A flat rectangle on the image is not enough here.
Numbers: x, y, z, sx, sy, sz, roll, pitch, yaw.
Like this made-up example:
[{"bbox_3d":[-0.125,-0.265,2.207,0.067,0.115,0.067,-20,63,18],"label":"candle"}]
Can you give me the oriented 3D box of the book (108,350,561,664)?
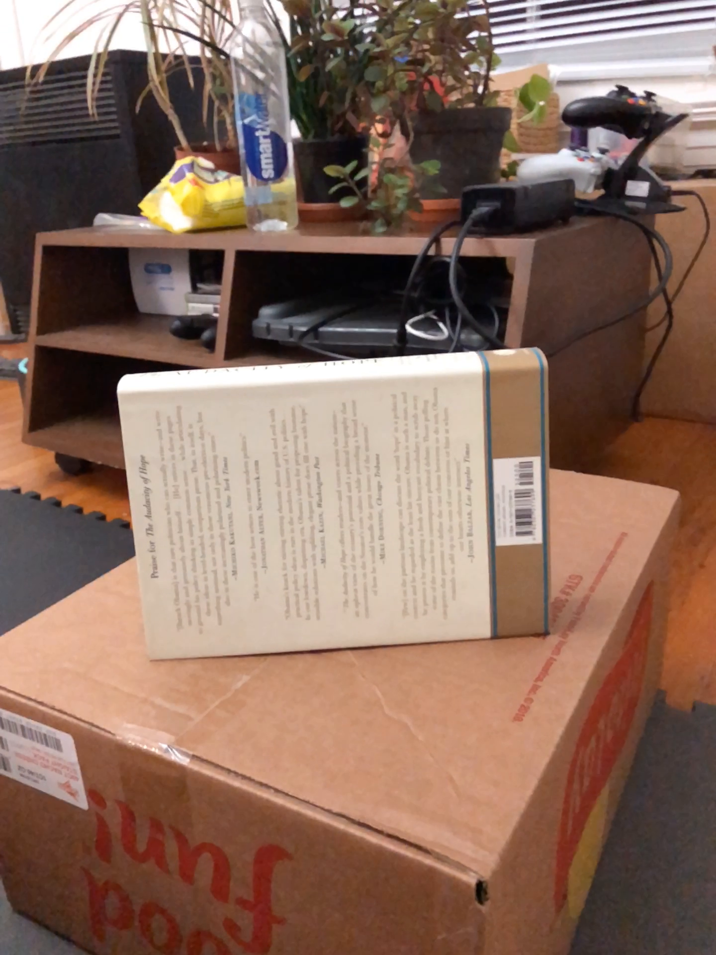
[{"bbox_3d":[-0.010,0.015,0.481,0.250,0.170,0.060,-3,11,-1],"label":"book"}]
